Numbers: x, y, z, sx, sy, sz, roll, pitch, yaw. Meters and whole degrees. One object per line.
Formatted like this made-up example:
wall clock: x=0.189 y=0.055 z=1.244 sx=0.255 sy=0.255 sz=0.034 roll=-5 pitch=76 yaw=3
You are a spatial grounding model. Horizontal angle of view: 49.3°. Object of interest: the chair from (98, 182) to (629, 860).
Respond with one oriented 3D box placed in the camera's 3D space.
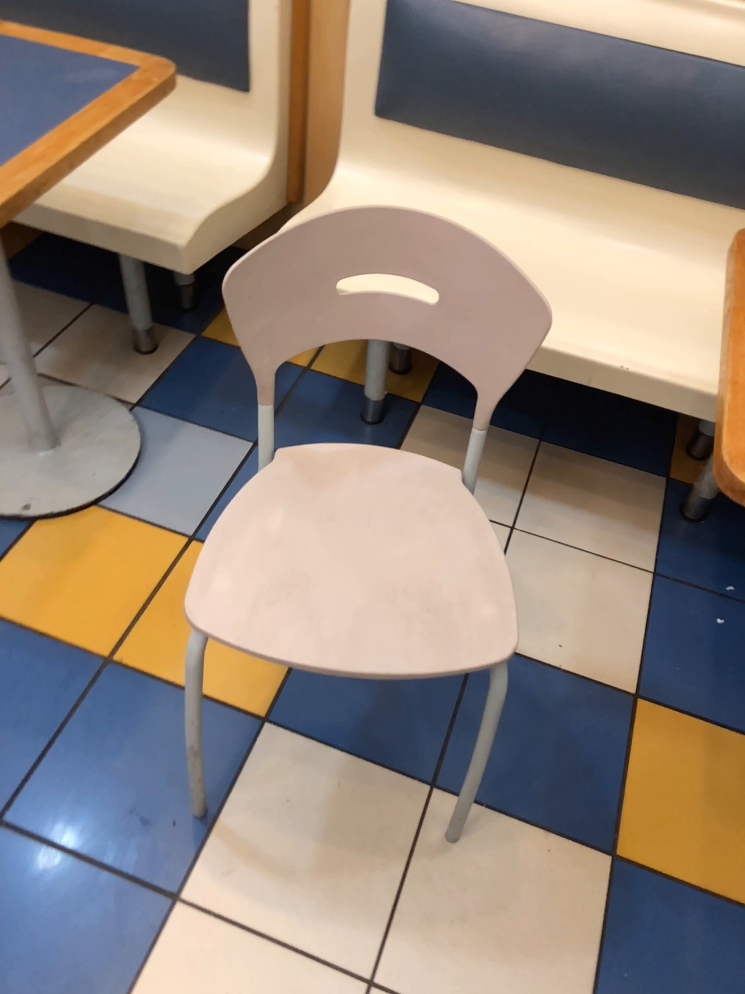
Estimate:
chair: x=-0.024 y=0.079 z=1.127 sx=0.440 sy=0.775 sz=0.514 roll=6 pitch=47 yaw=-1
